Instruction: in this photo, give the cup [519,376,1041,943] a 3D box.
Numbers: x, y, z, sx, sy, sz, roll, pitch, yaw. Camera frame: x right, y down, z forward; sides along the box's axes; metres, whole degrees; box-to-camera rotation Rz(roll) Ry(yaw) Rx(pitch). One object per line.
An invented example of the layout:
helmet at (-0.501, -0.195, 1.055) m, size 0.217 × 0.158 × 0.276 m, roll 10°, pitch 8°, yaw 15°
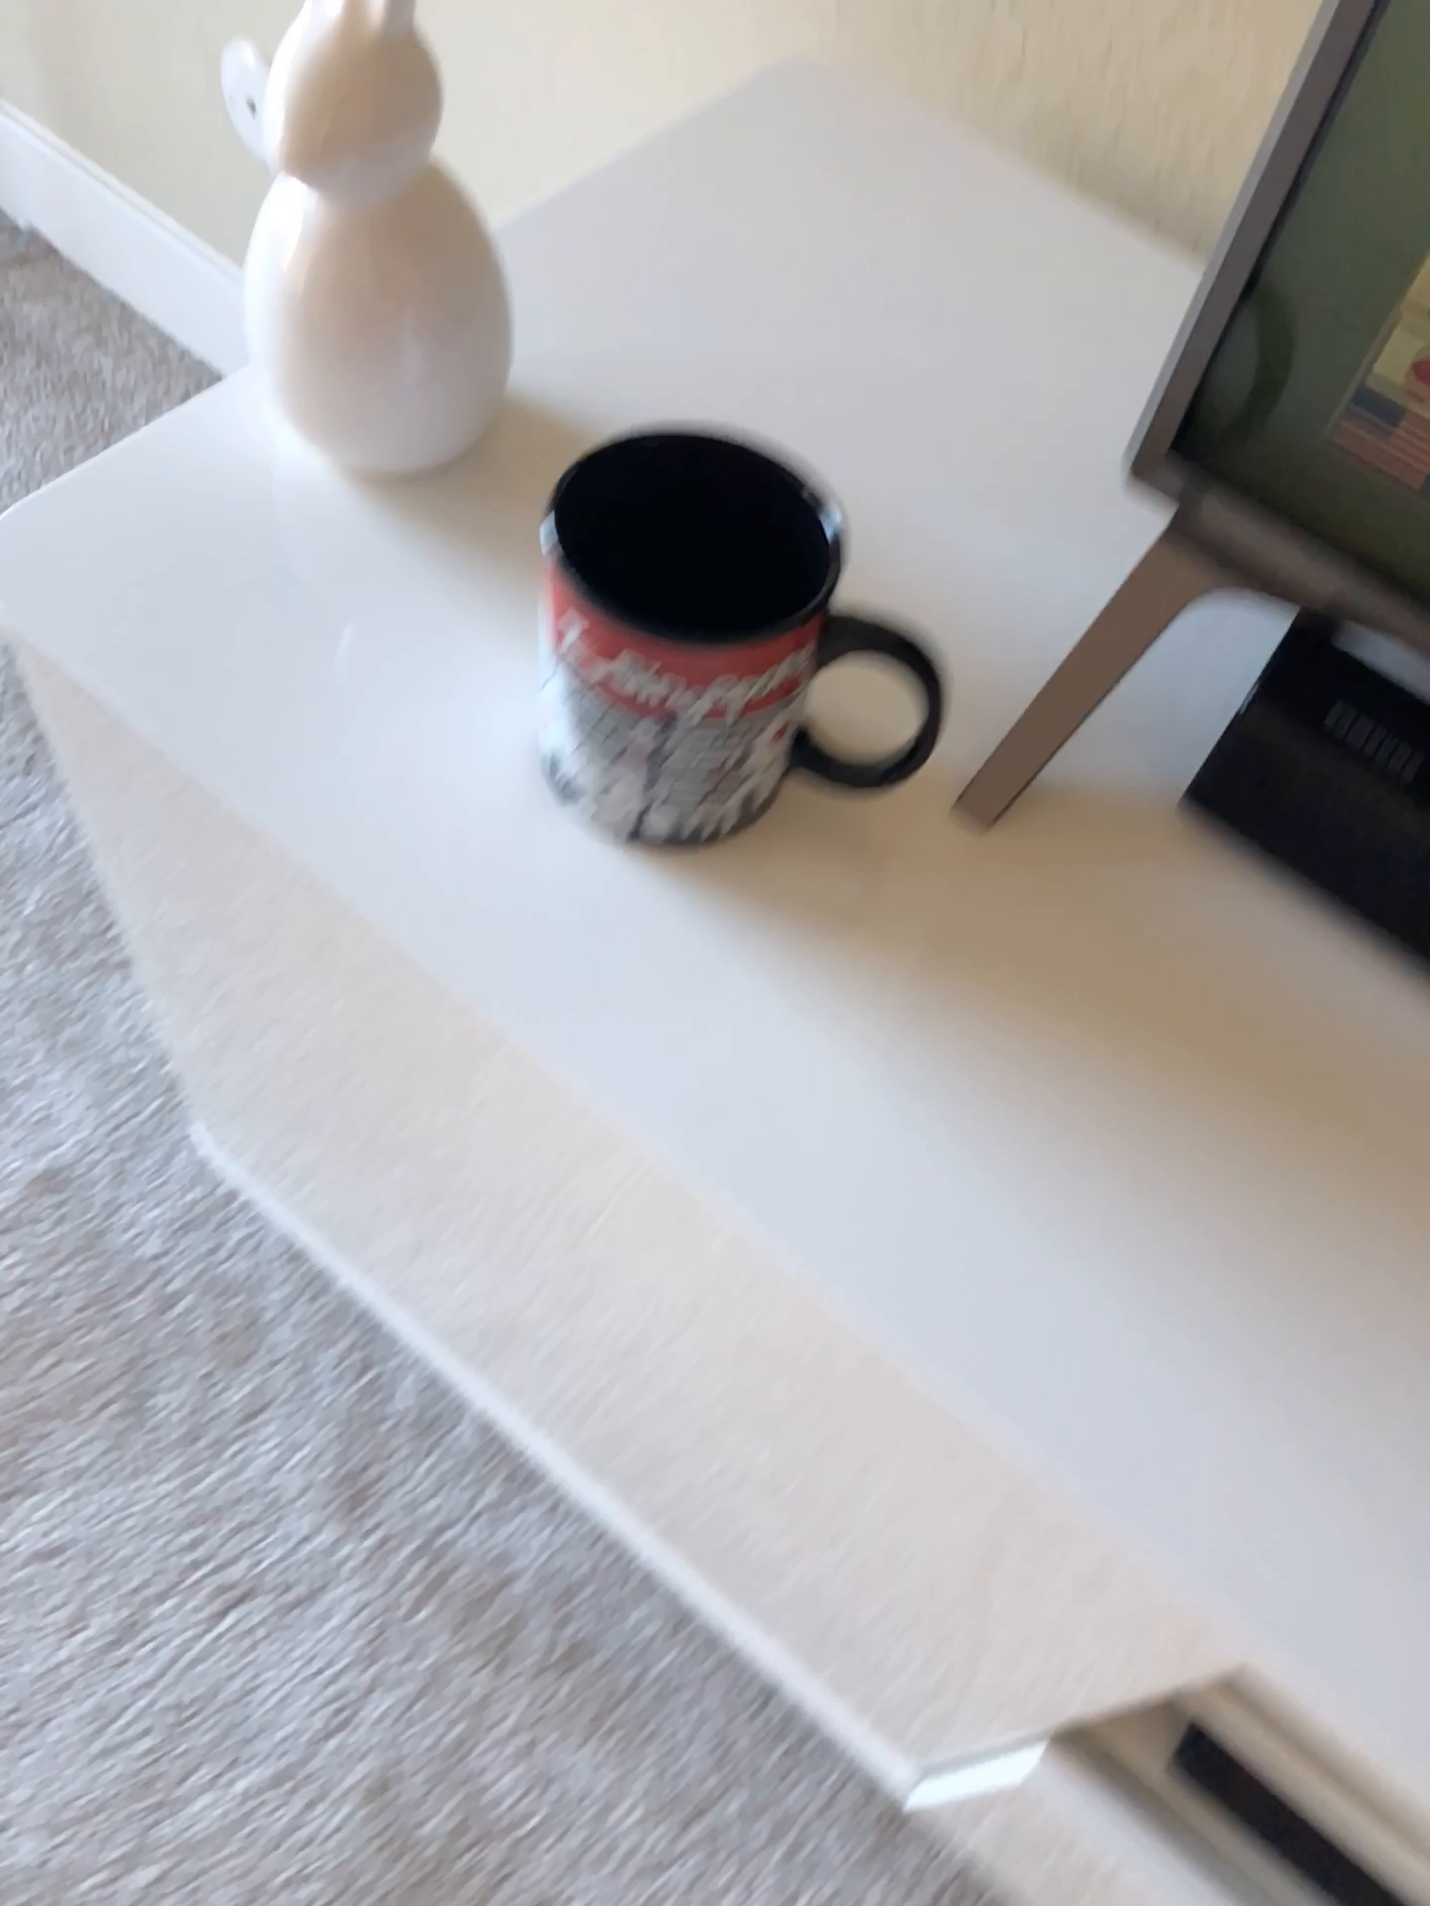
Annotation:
cup at (0.014, -0.082, 0.465) m, size 0.120 × 0.110 × 0.080 m, roll 19°, pitch 58°, yaw 3°
